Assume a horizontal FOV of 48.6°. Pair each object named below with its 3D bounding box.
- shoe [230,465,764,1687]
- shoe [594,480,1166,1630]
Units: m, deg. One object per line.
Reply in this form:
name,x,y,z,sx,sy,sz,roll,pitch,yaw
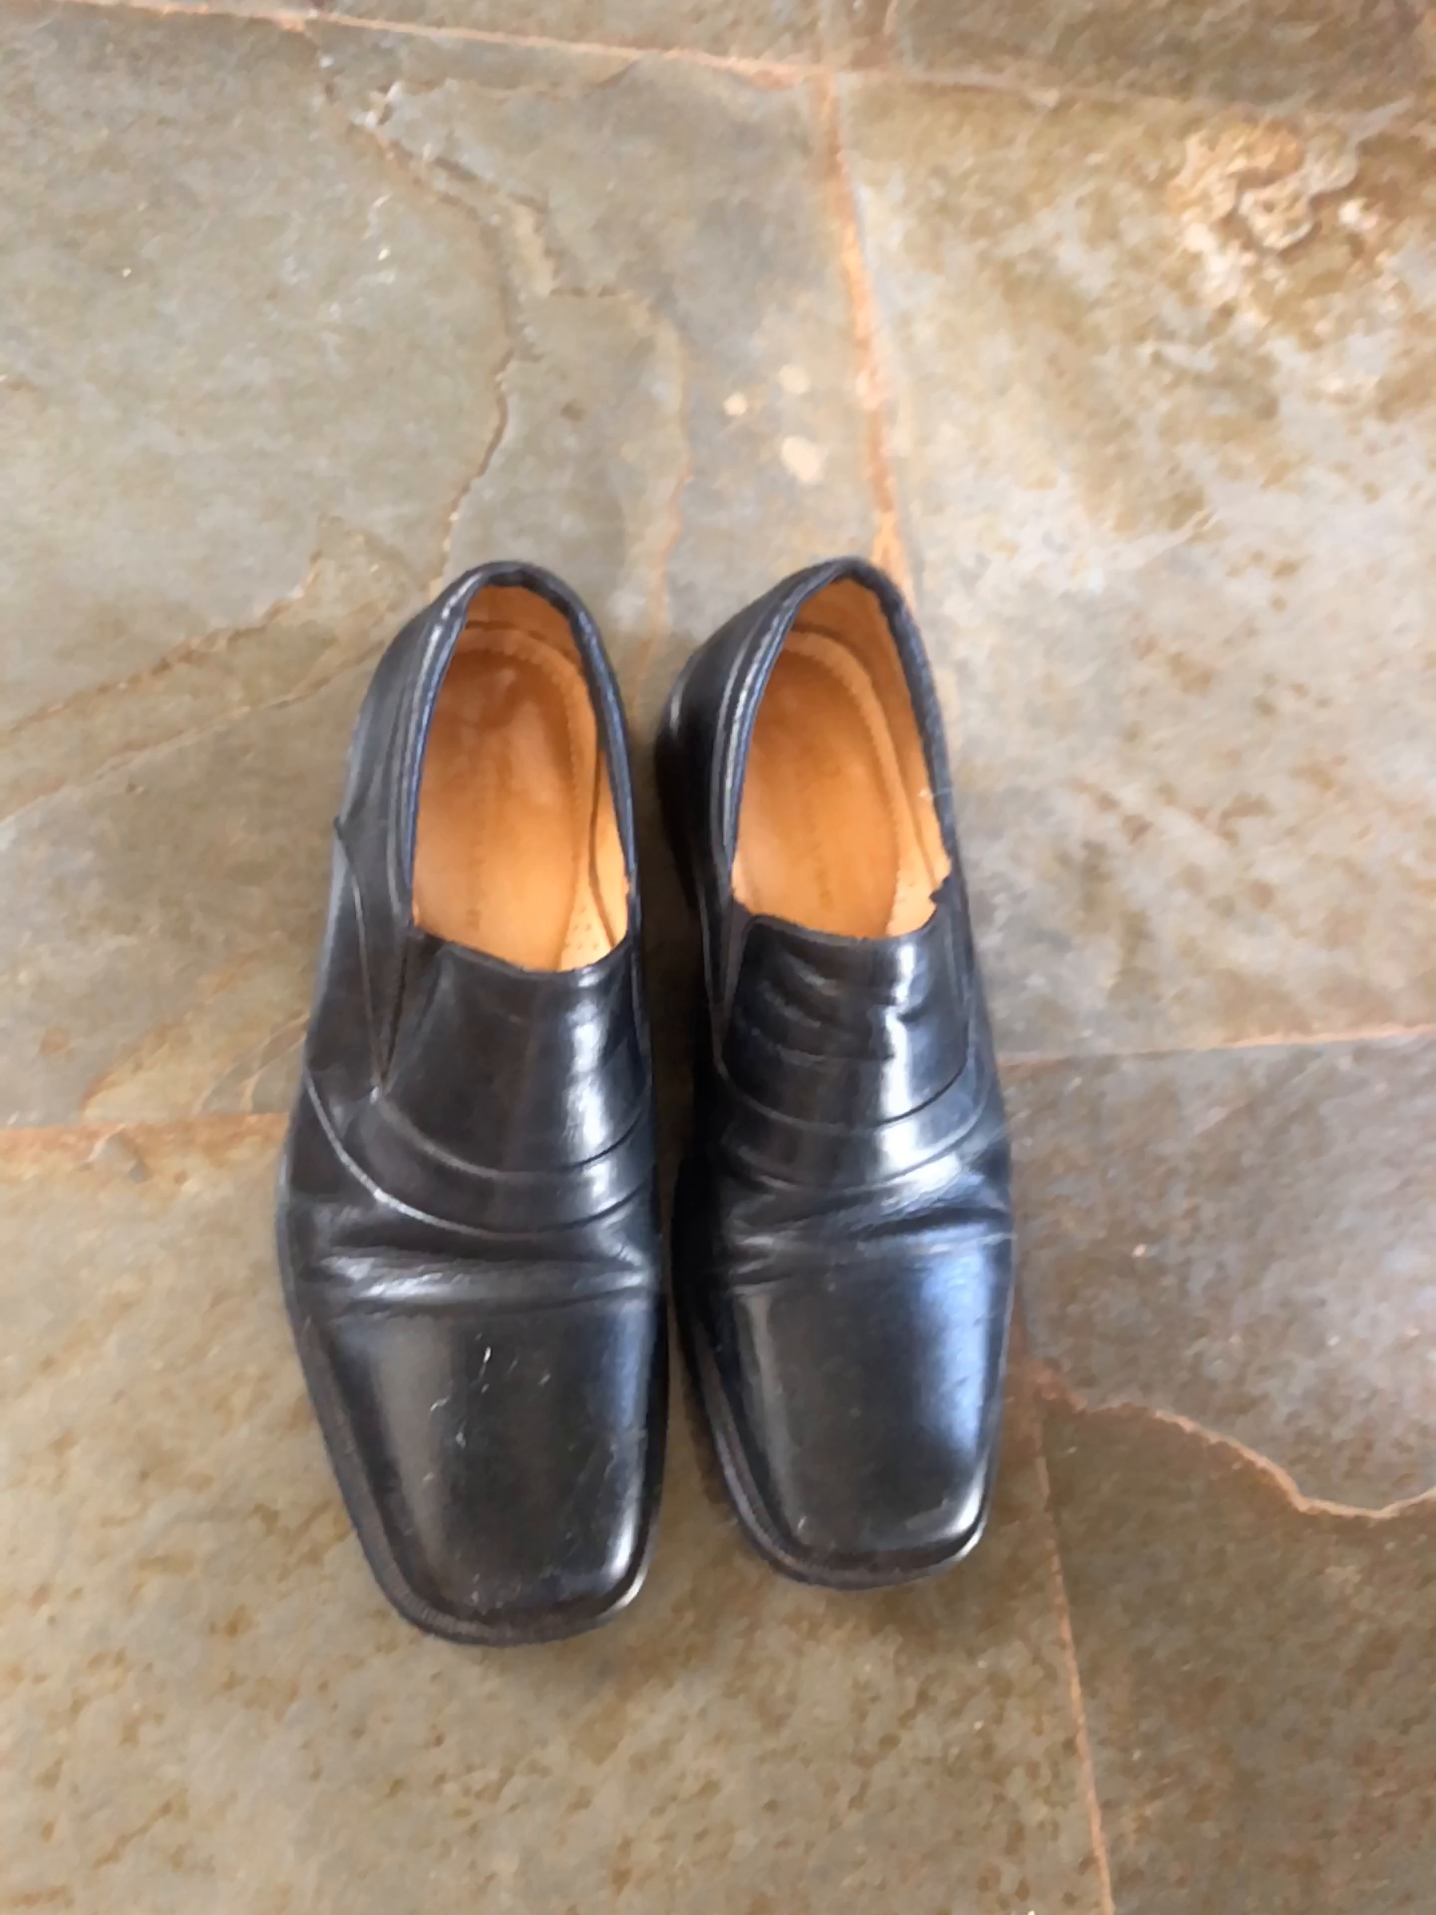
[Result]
shoe,-0.067,0.026,0.421,0.110,0.110,0.281,-1,73,-13
shoe,0.031,0.024,0.441,0.100,0.110,0.281,-1,73,-13
